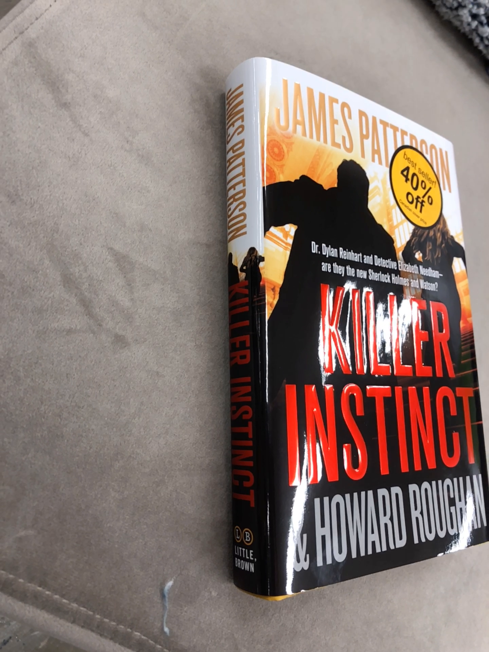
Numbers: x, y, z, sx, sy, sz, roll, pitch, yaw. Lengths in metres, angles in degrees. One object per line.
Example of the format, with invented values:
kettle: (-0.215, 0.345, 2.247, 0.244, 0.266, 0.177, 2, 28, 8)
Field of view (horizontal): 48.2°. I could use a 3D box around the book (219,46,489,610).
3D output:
book: (0.071, 0.000, 0.292, 0.173, 0.038, 0.237, 6, 78, -36)
